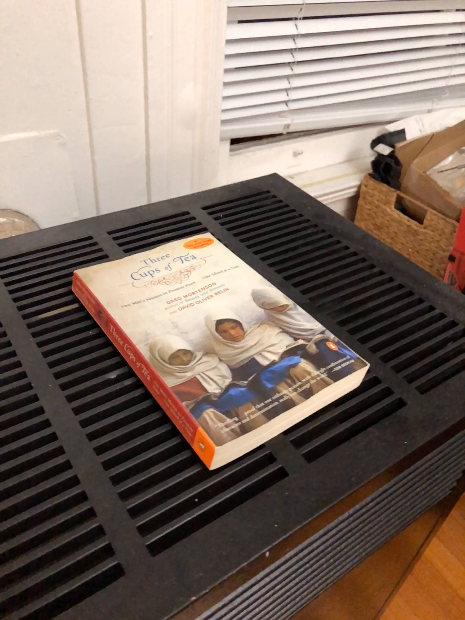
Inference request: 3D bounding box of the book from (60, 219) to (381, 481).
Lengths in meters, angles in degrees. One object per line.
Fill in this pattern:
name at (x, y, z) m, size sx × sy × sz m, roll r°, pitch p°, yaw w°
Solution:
book at (-0.019, 0.007, 0.398) m, size 0.140 × 0.030 × 0.221 m, roll -23°, pitch 47°, yaw -30°
